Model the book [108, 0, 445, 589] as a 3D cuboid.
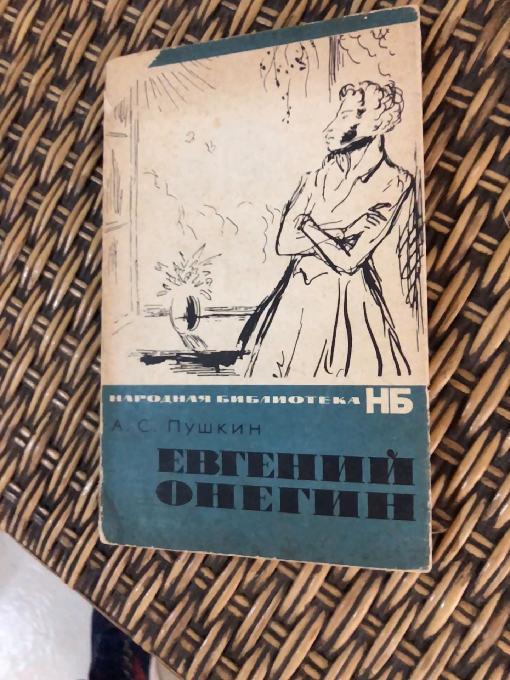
[{"bbox_3d":[0.005,-0.016,0.210,0.120,0.020,0.190,-1,87,17],"label":"book"}]
